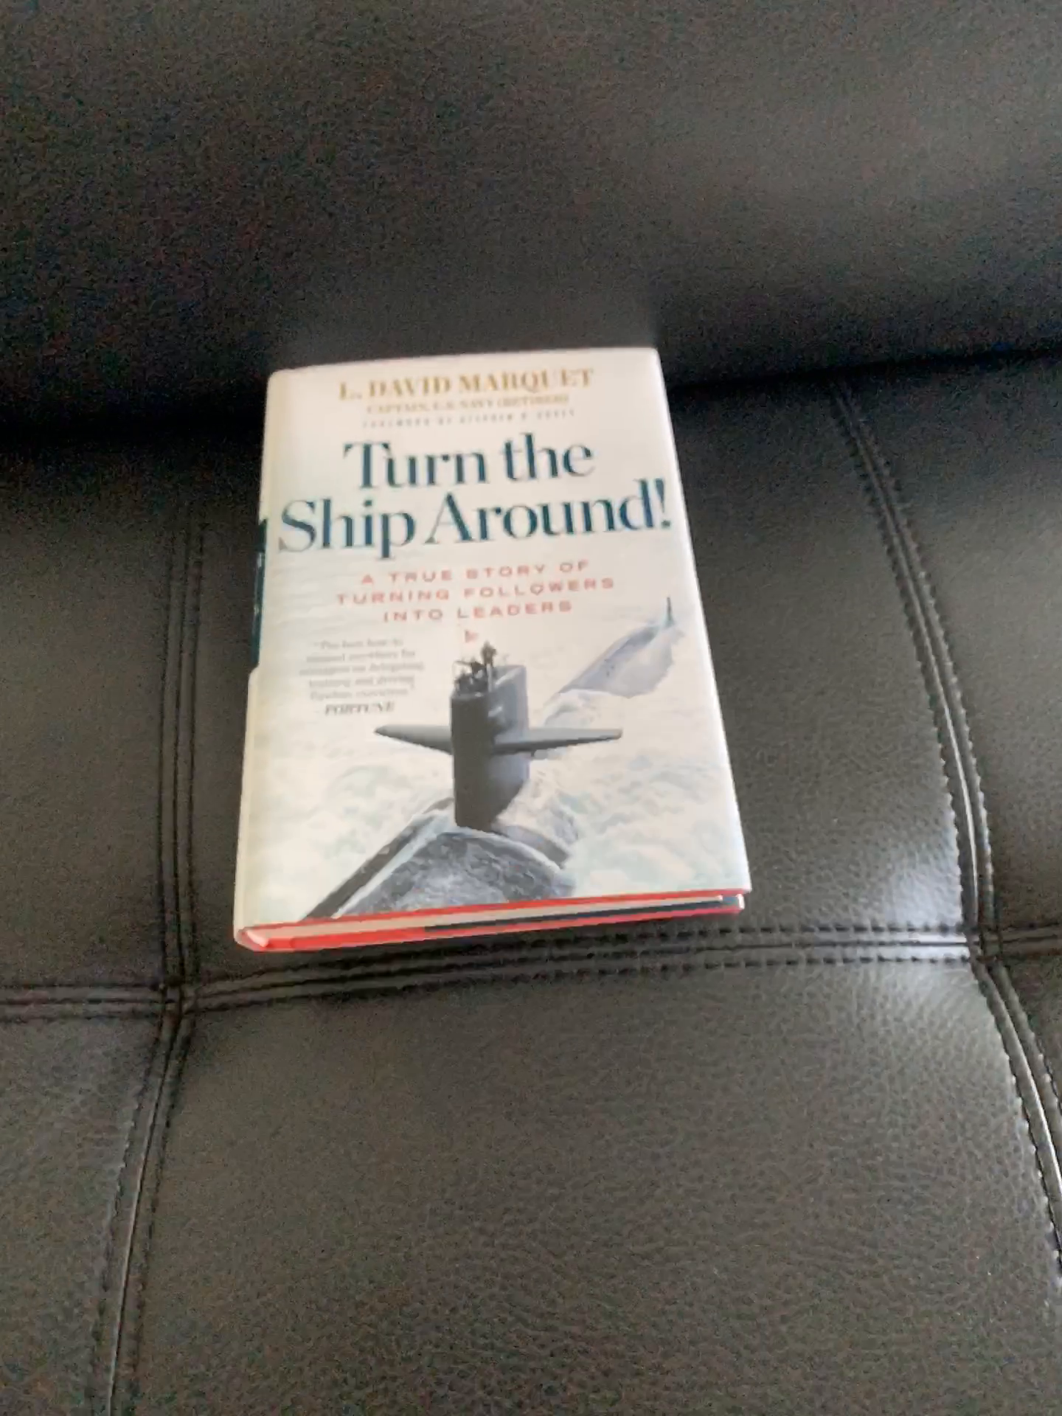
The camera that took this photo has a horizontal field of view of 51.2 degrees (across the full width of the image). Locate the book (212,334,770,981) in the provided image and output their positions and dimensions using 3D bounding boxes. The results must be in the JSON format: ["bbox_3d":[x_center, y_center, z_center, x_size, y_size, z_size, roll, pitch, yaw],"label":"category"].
[{"bbox_3d":[-0.018,-0.030,0.371,0.152,0.029,0.227,-4,60,-1],"label":"book"}]
